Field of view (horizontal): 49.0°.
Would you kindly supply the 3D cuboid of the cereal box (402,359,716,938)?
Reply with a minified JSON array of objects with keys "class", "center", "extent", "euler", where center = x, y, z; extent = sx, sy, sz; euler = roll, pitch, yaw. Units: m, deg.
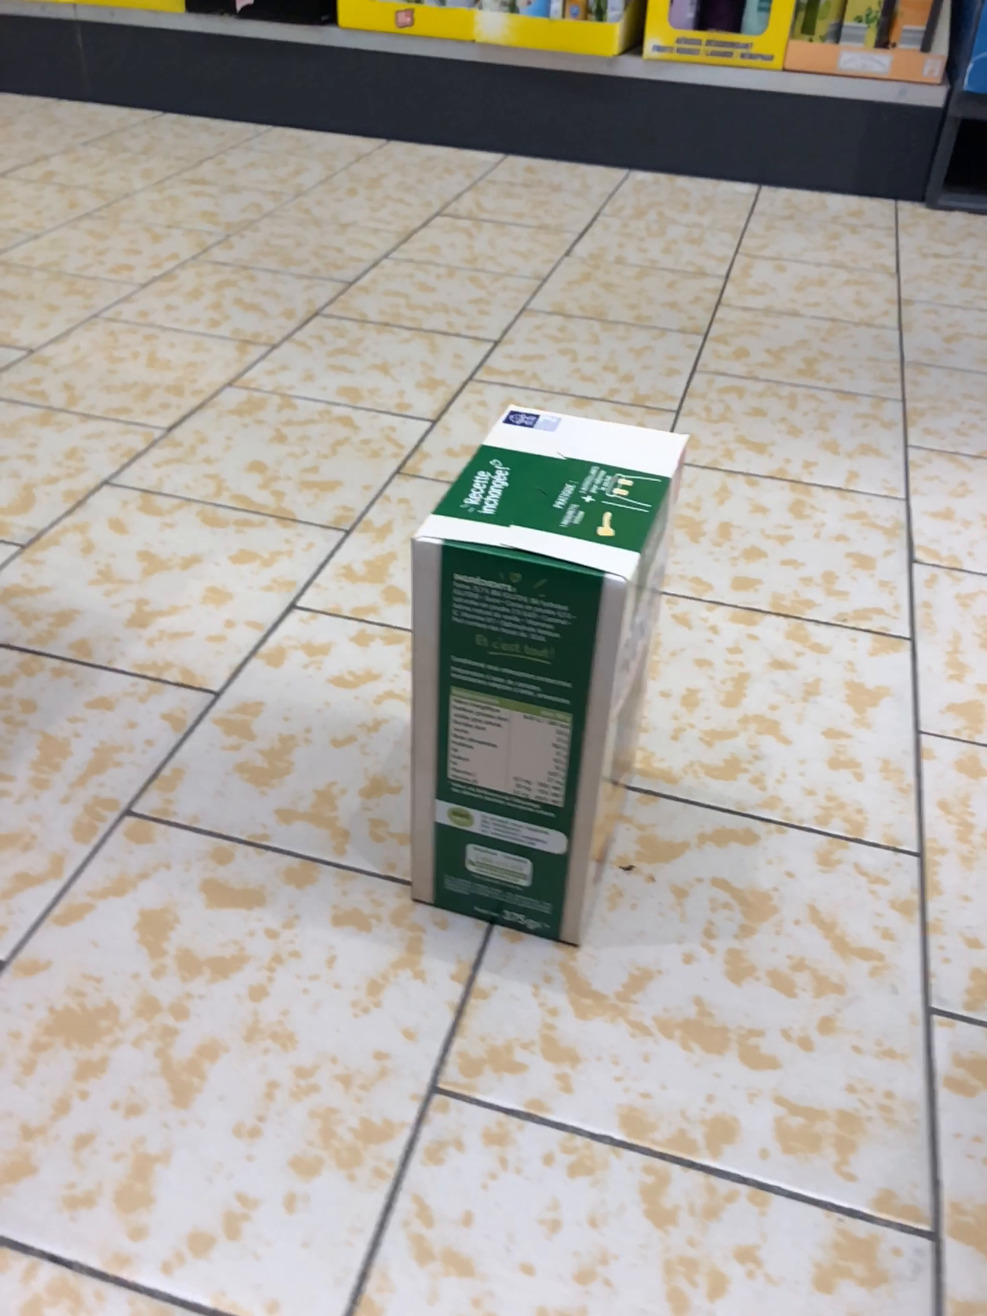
[{"class":"cereal box","center":[0.025,-0.005,0.438],"extent":[0.080,0.179,0.131],"euler":[13,38,13]}]
